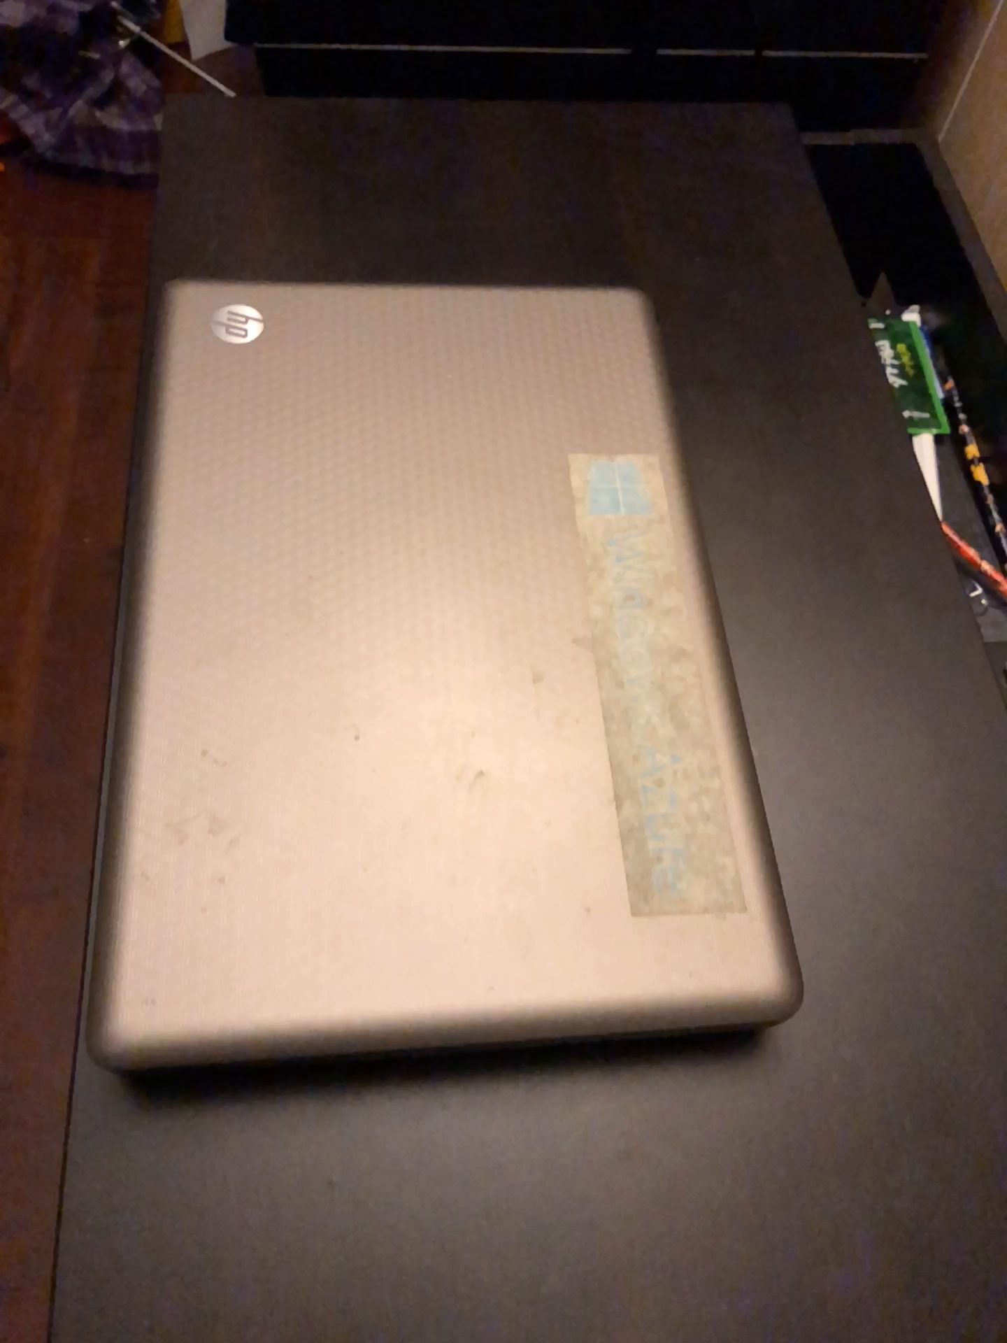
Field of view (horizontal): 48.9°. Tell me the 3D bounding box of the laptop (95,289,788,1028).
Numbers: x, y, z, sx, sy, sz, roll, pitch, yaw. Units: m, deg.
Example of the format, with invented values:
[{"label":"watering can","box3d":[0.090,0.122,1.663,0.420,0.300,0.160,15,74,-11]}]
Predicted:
[{"label":"laptop","box3d":[-0.033,-0.039,0.470,0.237,0.001,0.358,-2,59,-6]}]
